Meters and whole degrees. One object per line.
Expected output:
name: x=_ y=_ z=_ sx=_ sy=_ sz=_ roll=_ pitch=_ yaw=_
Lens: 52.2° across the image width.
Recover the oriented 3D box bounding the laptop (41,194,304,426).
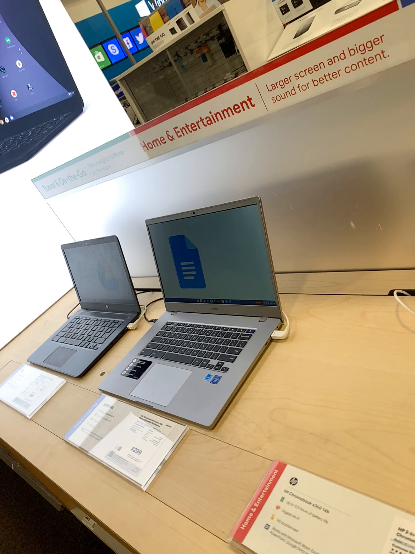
laptop: x=-0.068 y=0.045 z=0.812 sx=0.341 sy=0.200 sz=0.325 roll=-2 pitch=38 yaw=48

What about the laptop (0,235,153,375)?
laptop: x=-0.366 y=0.062 z=1.118 sx=0.302 sy=0.191 sz=0.287 roll=-3 pitch=36 yaw=47
